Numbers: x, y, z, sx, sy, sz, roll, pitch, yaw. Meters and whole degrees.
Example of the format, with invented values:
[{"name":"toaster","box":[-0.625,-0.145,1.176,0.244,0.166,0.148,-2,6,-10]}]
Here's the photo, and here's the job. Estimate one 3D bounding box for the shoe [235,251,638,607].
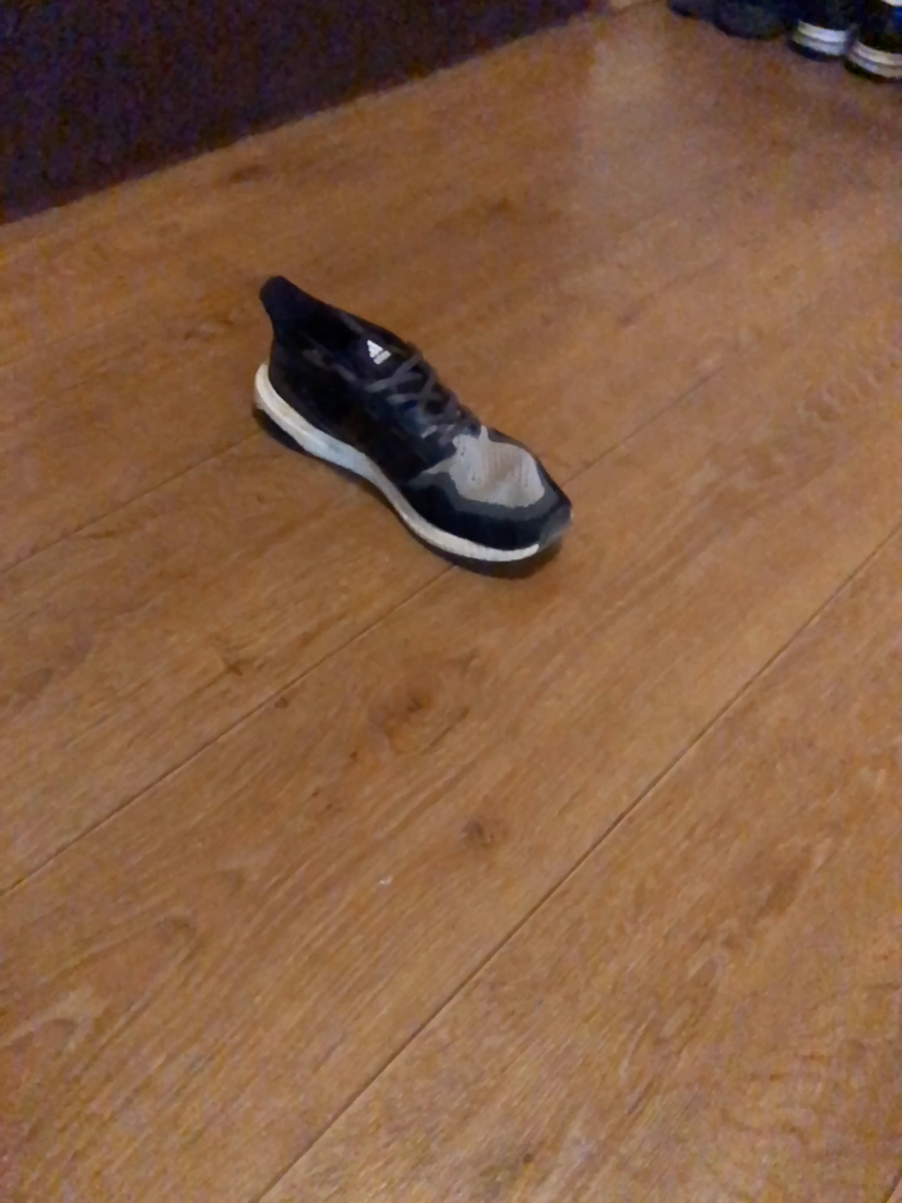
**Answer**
[{"name":"shoe","box":[-0.018,-0.132,0.707,0.271,0.099,0.114,37,56,25]}]
